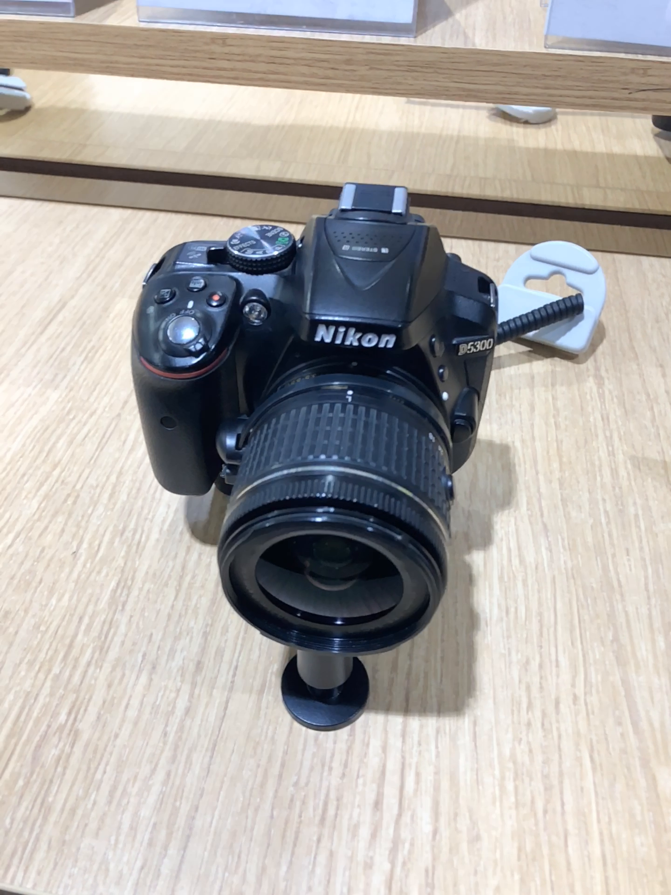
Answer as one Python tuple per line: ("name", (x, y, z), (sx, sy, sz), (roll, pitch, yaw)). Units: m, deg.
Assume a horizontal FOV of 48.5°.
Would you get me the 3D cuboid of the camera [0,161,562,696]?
("camera", (-0.011, -0.009, 0.222), (0.120, 0.102, 0.111), (5, 43, 4))
